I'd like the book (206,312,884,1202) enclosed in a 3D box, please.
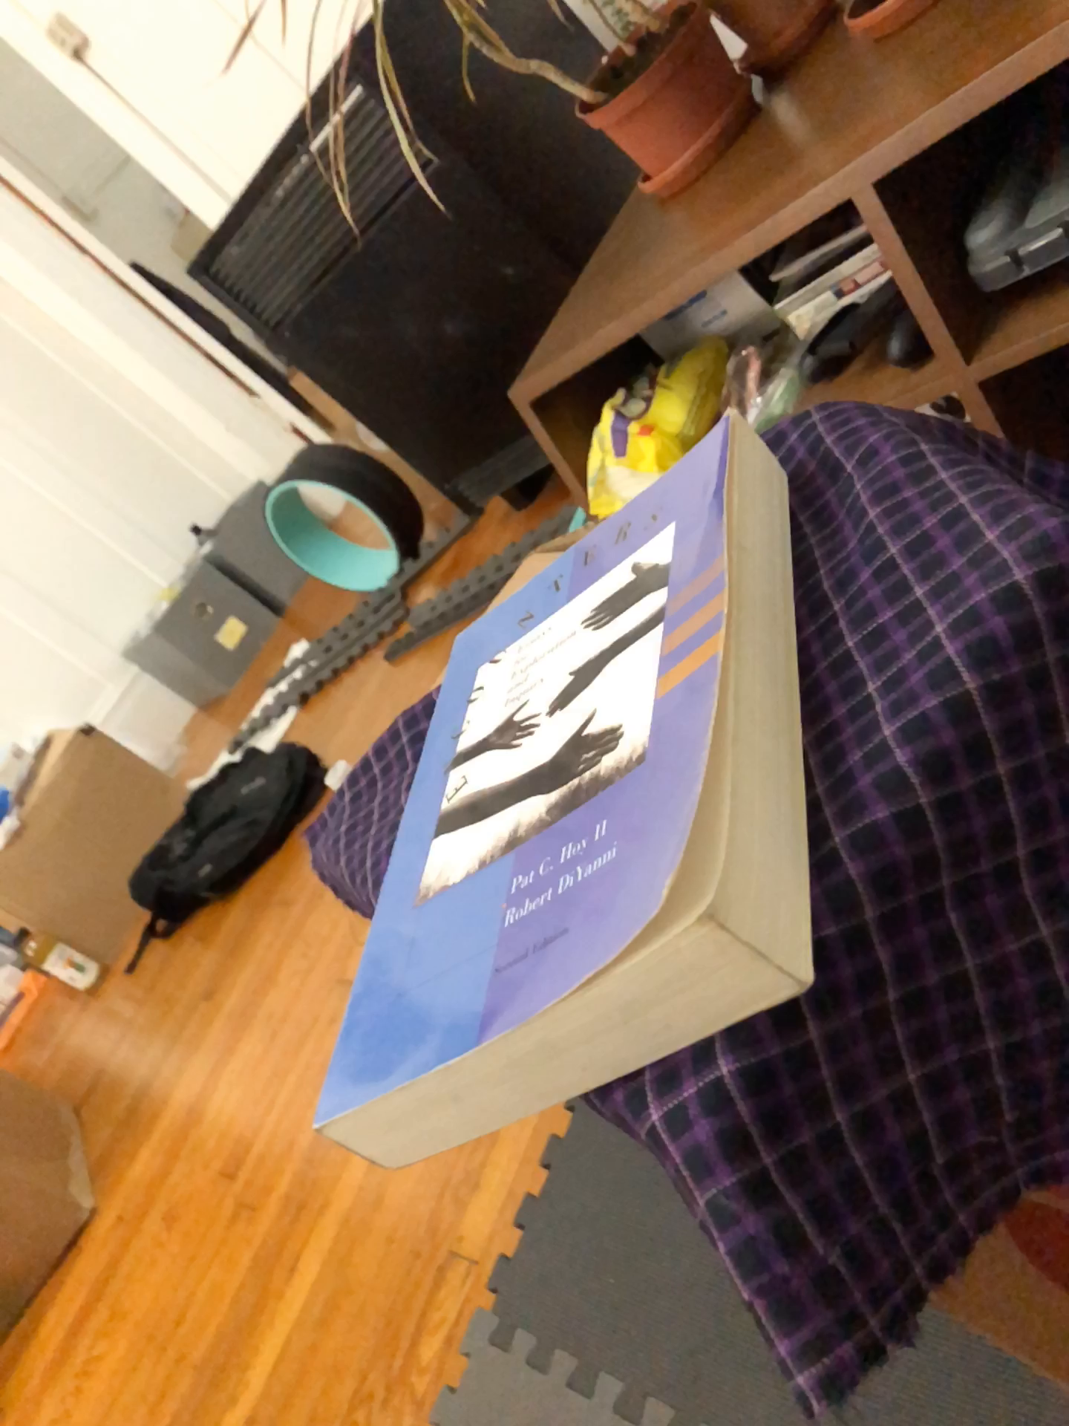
[{"bbox_3d":[0.007,0.002,0.387,0.200,0.040,0.261,-34,28,34],"label":"book"}]
